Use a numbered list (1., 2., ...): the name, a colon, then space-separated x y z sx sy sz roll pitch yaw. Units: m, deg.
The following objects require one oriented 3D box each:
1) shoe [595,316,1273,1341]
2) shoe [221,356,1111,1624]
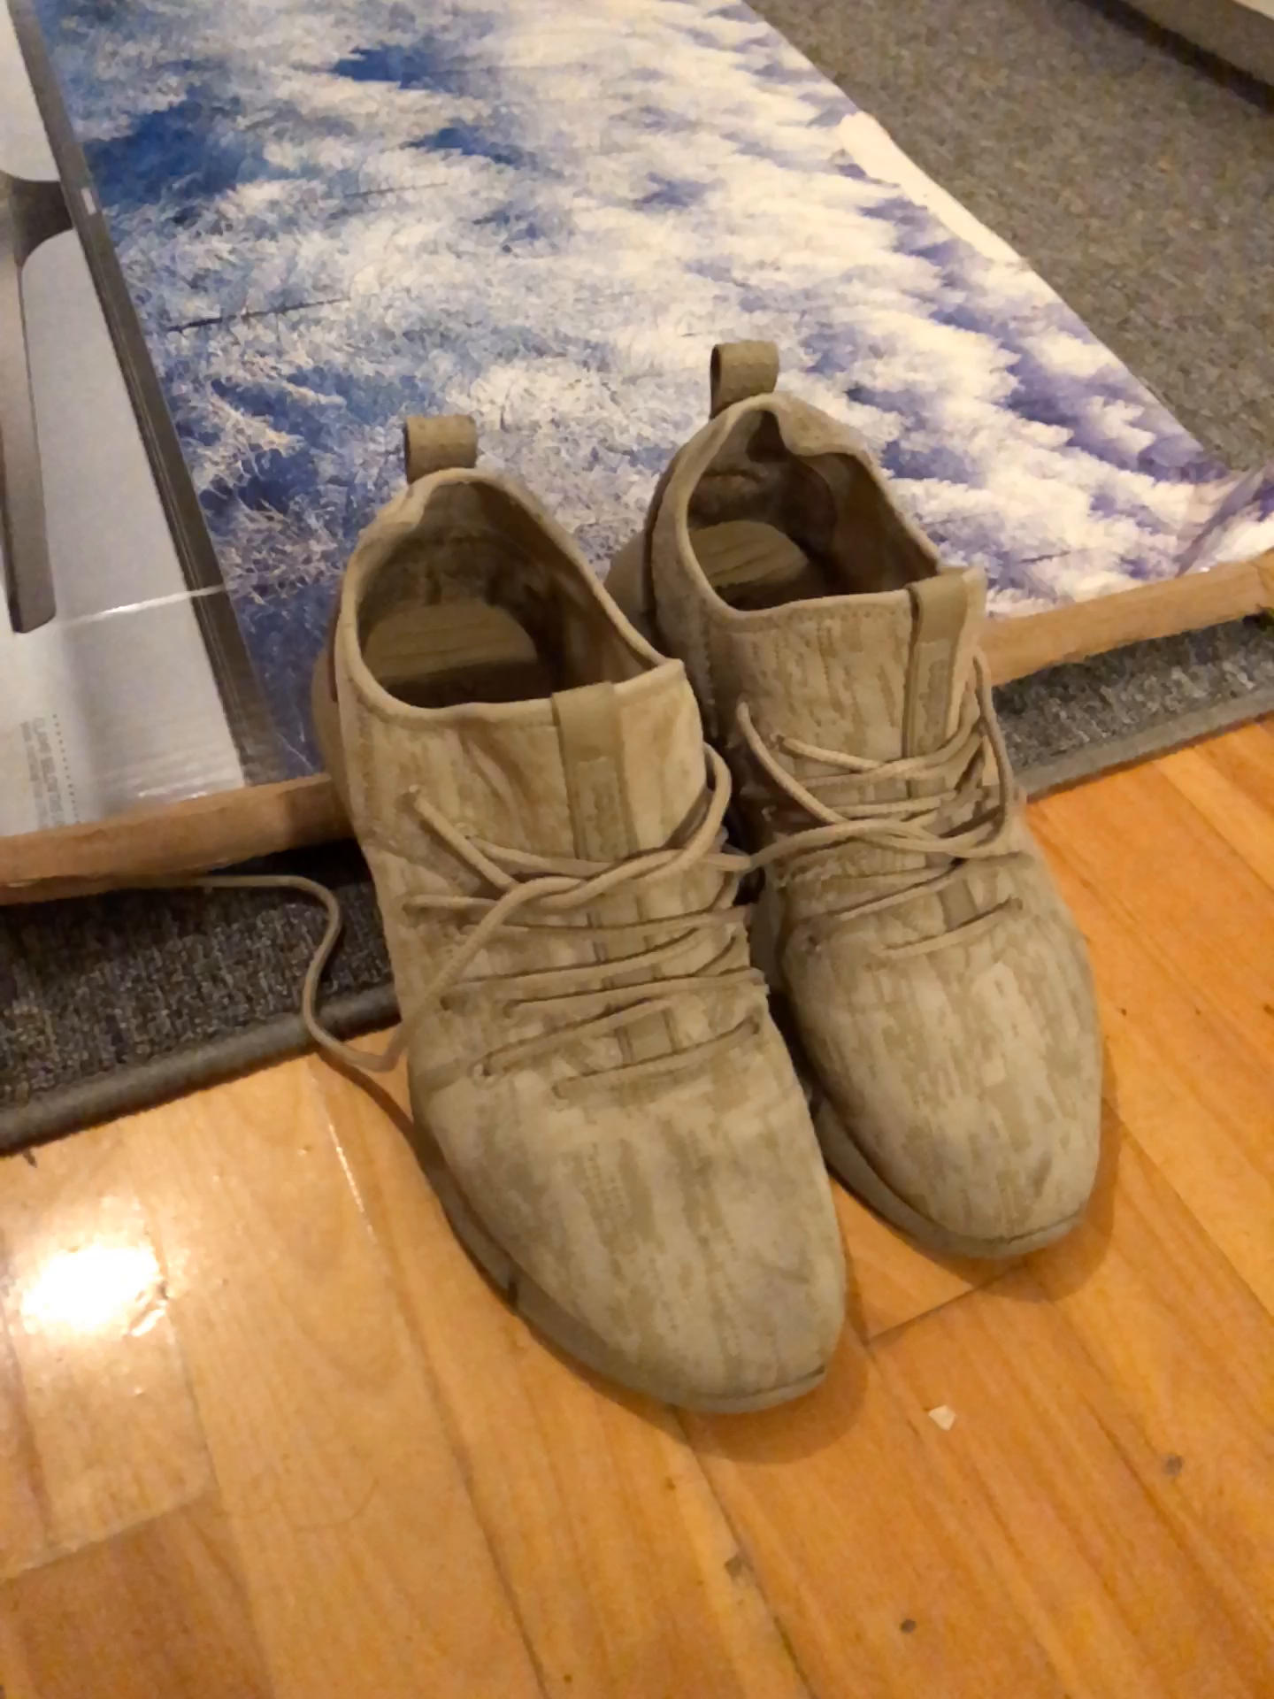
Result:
1. shoe: 0.088 -0.005 0.414 0.110 0.120 0.251 -14 80 -18
2. shoe: -0.011 0.027 0.352 0.110 0.119 0.251 -17 77 -20
